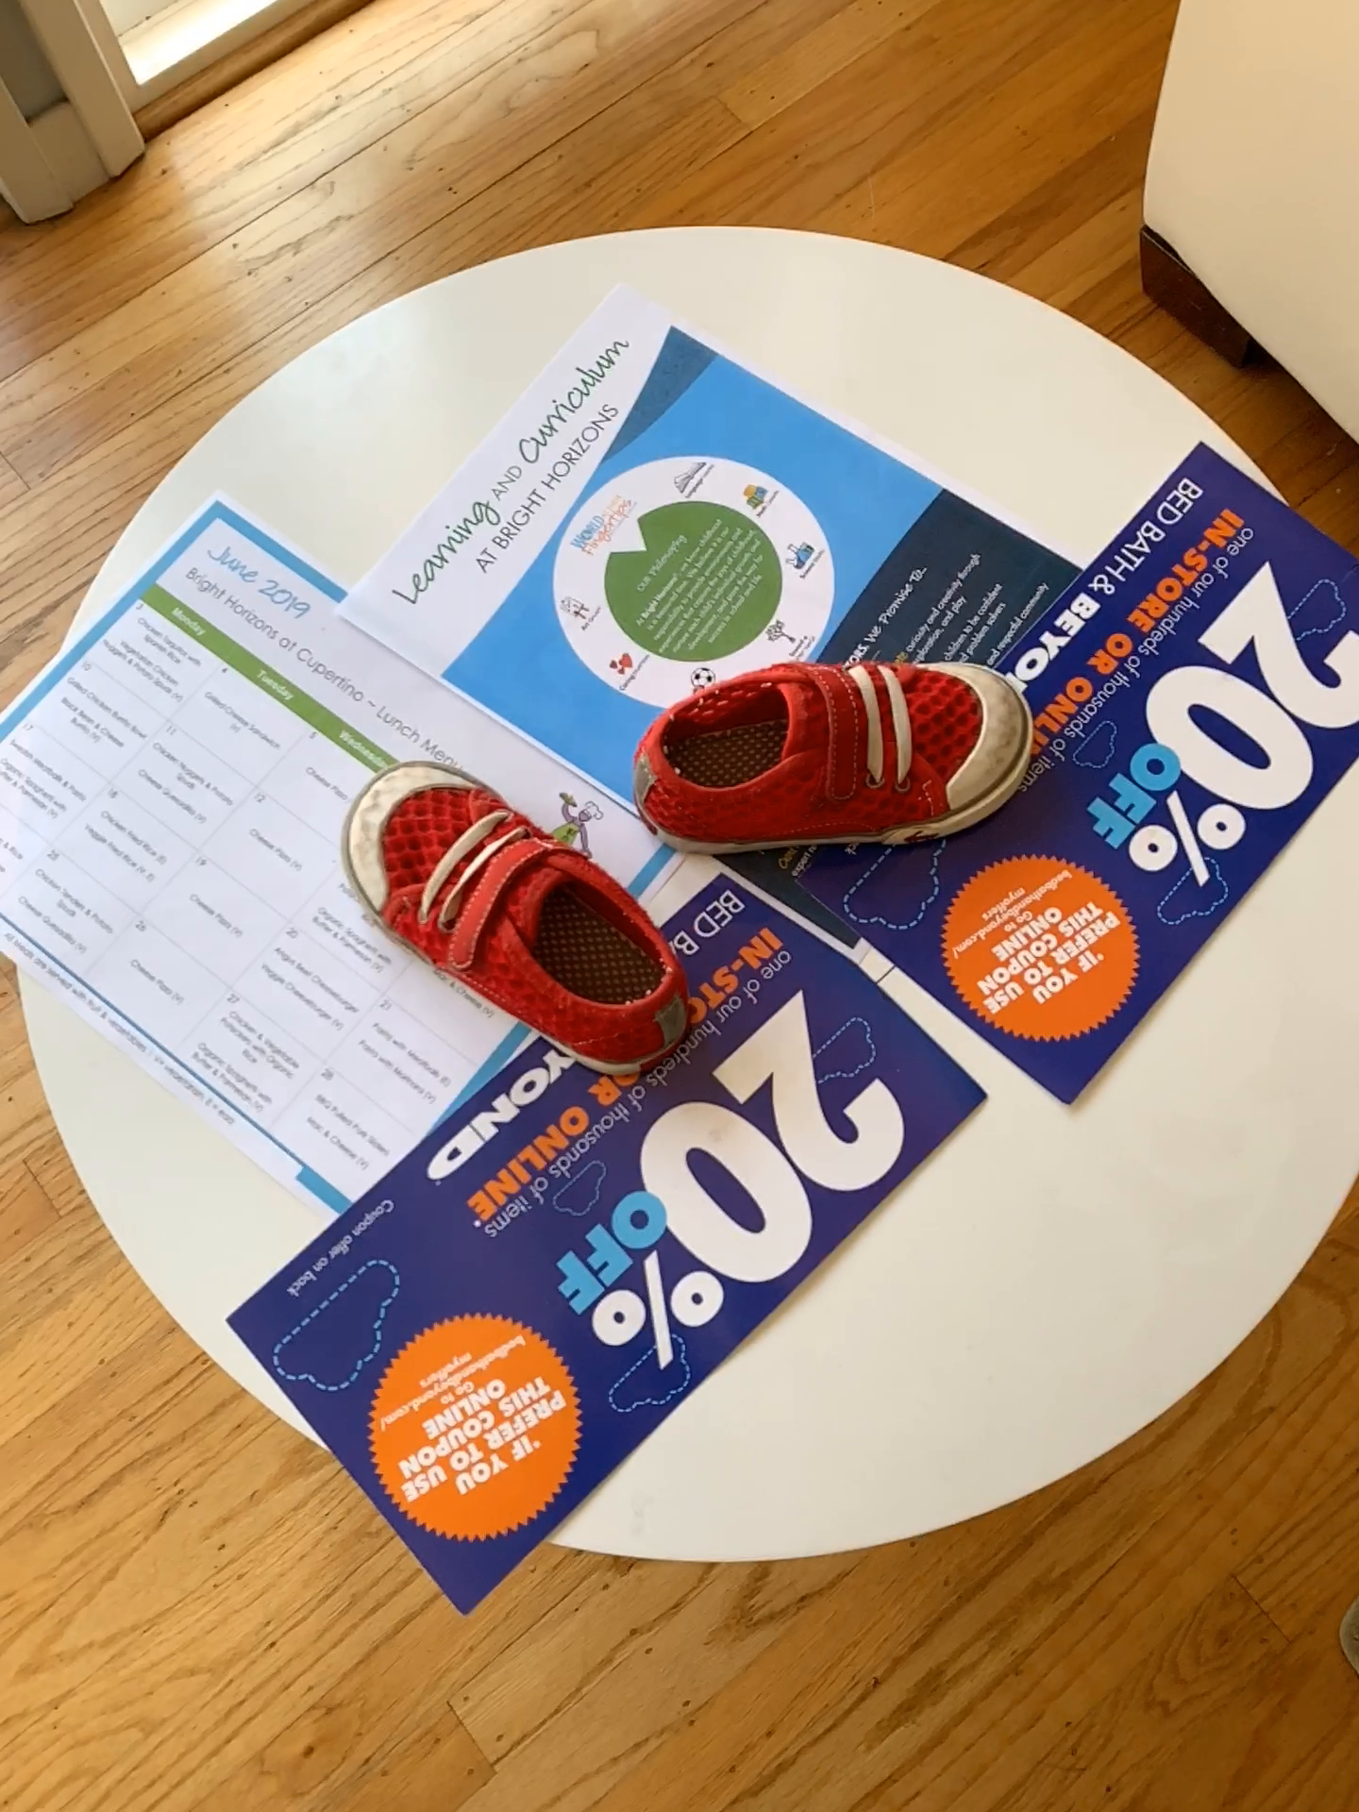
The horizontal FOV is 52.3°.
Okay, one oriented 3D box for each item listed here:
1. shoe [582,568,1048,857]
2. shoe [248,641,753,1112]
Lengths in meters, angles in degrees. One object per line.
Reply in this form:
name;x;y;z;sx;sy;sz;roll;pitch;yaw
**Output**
shoe;0.055;-0.082;0.601;0.180;0.070;0.080;-8;74;-1
shoe;-0.065;-0.009;0.530;0.170;0.070;0.080;37;78;11
